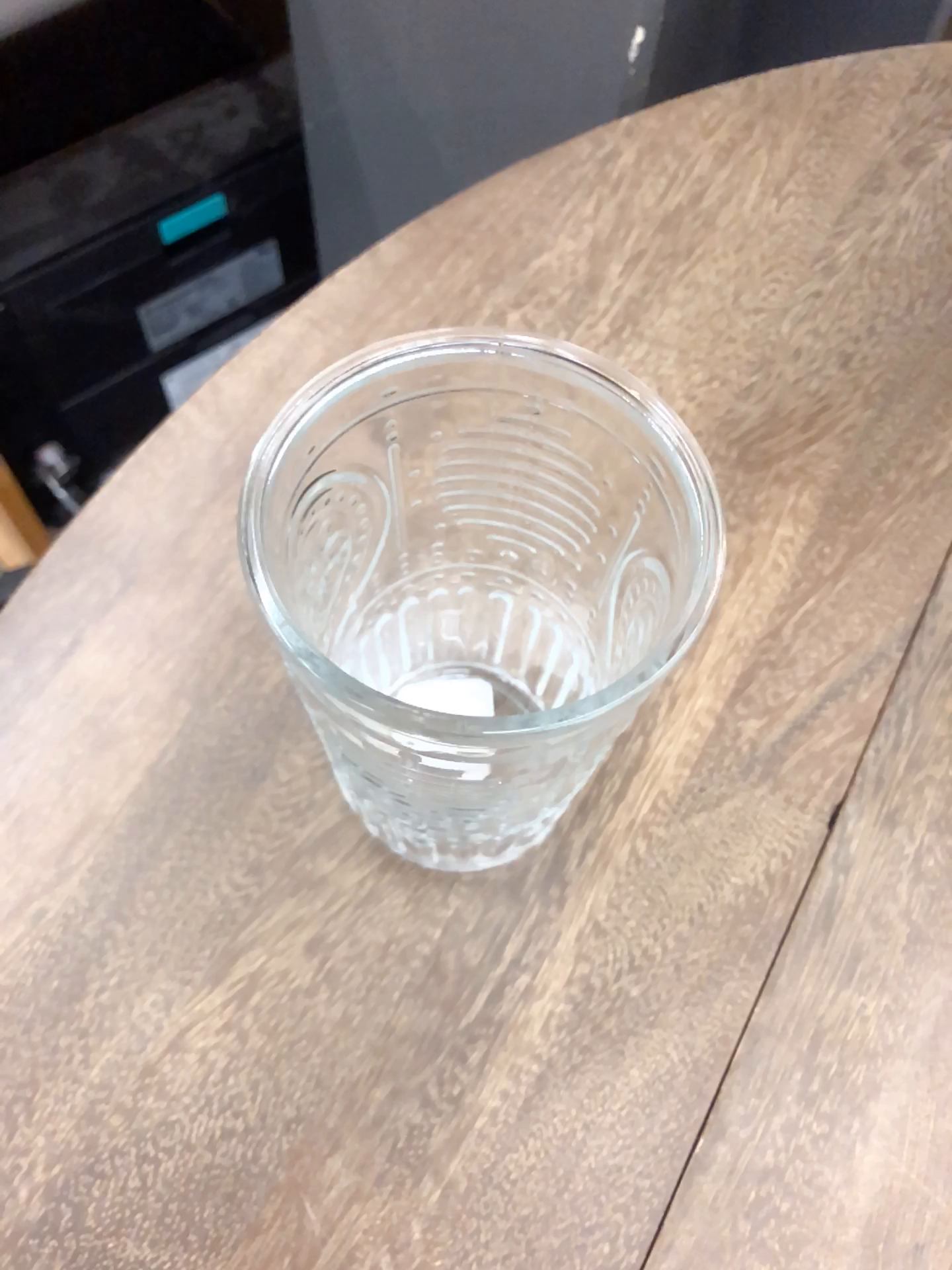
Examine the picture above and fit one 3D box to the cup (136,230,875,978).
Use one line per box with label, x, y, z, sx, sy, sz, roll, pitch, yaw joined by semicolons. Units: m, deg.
cup;0.001;0.001;0.220;0.088;0.107;0.085;1;63;-2
